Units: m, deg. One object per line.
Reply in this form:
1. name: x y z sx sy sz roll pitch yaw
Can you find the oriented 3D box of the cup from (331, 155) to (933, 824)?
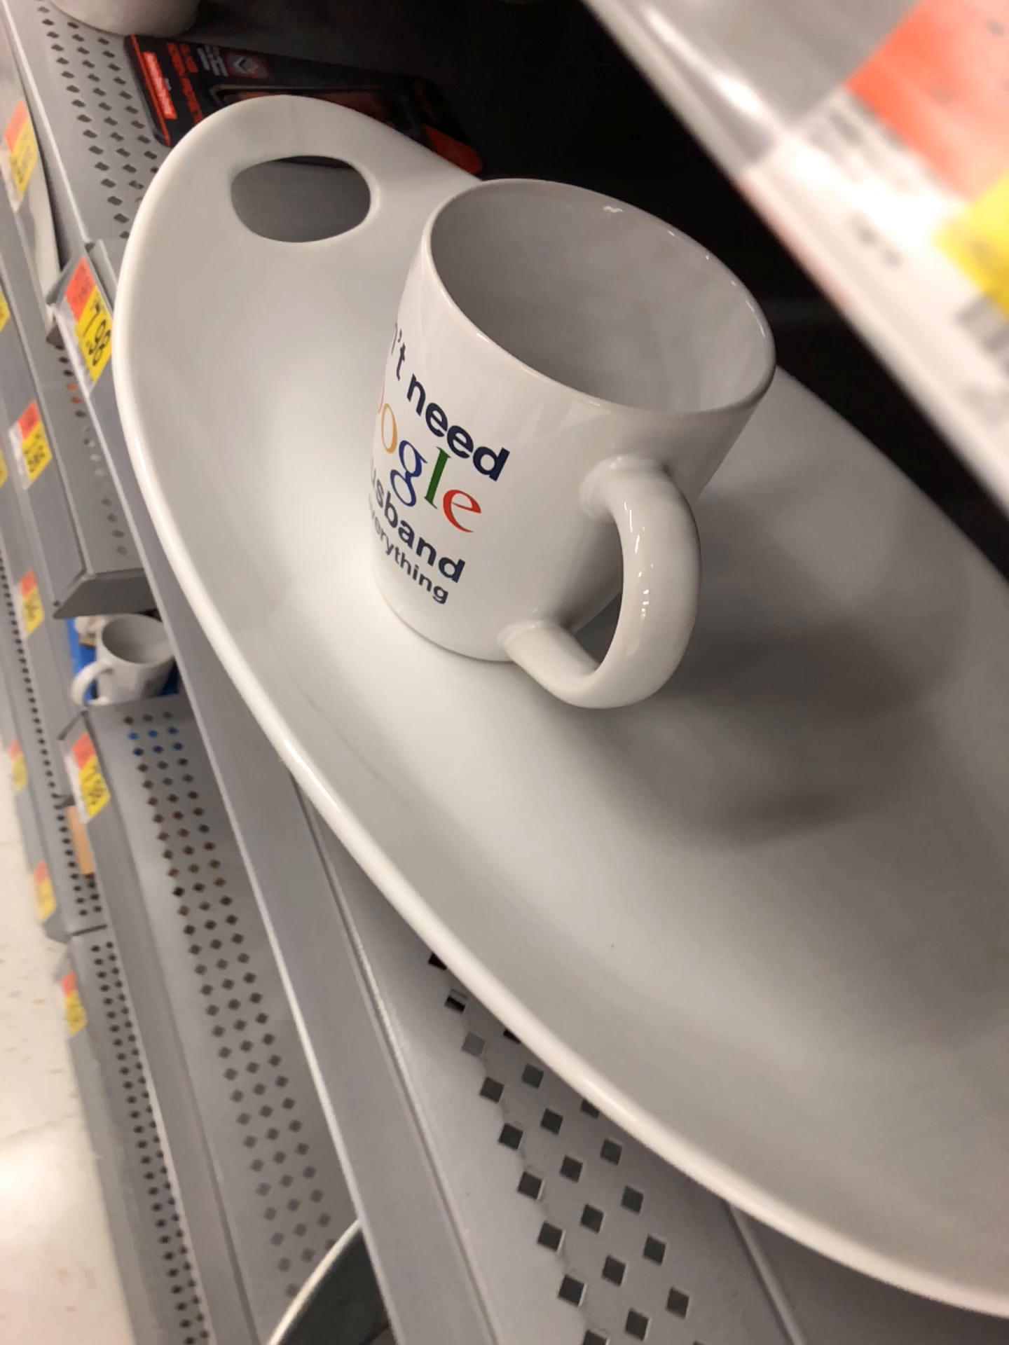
1. cup: 0.022 -0.054 0.336 0.104 0.108 0.154 -3 55 -22
